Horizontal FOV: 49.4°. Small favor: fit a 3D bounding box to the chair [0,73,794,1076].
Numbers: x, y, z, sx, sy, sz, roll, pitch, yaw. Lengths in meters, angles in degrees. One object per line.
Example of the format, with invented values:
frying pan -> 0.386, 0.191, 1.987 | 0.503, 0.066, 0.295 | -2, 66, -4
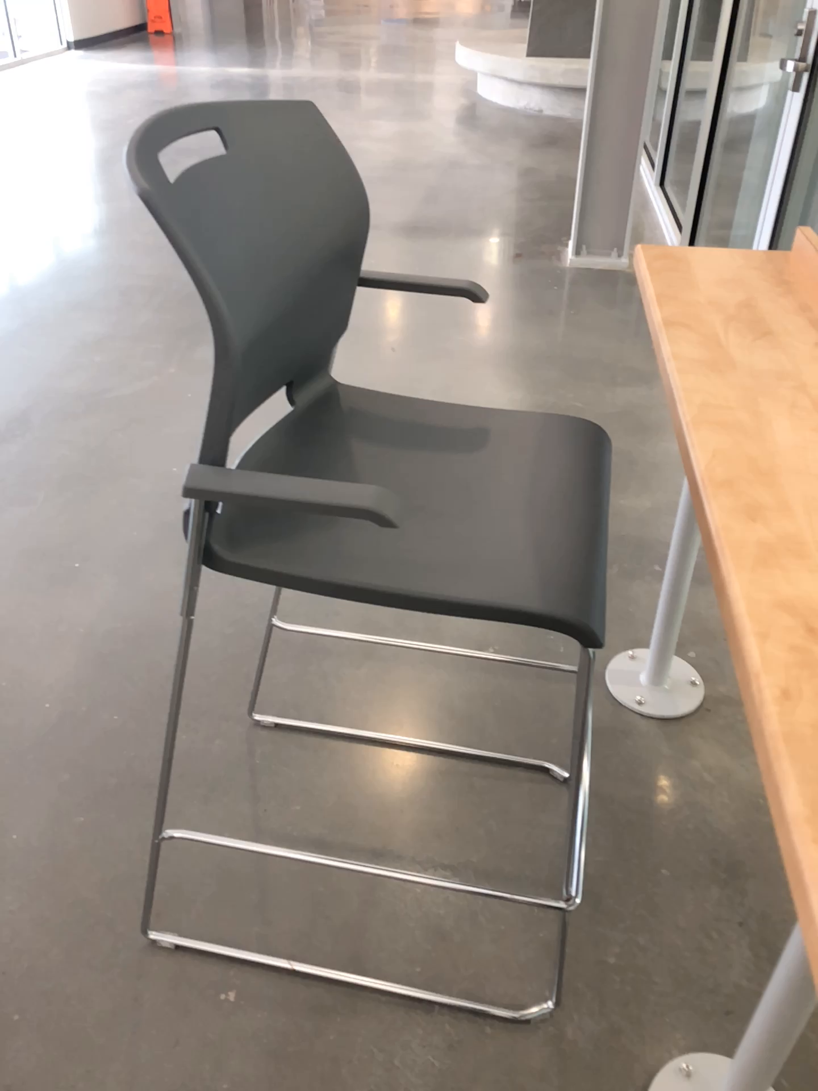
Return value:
chair -> -0.038, 0.043, 1.150 | 0.660, 1.072, 0.604 | 7, 35, 8
